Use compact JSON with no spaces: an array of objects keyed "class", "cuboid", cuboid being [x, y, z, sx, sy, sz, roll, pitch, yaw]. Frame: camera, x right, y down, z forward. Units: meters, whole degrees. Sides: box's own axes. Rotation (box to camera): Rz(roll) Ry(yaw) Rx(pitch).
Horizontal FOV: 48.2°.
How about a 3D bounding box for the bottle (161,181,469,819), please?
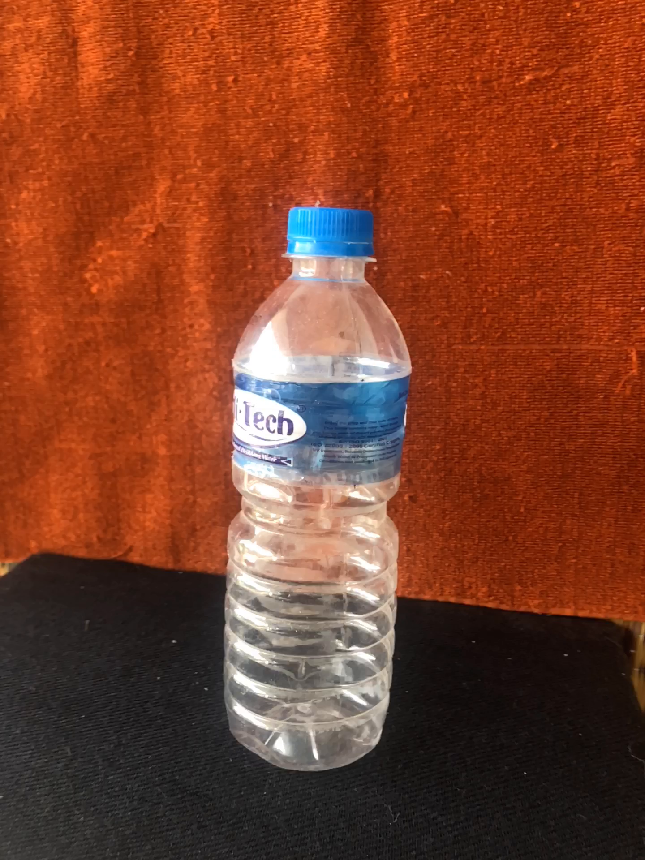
[{"class":"bottle","cuboid":[-0.005,0.018,0.251,0.070,0.189,0.070,1,13,0]}]
